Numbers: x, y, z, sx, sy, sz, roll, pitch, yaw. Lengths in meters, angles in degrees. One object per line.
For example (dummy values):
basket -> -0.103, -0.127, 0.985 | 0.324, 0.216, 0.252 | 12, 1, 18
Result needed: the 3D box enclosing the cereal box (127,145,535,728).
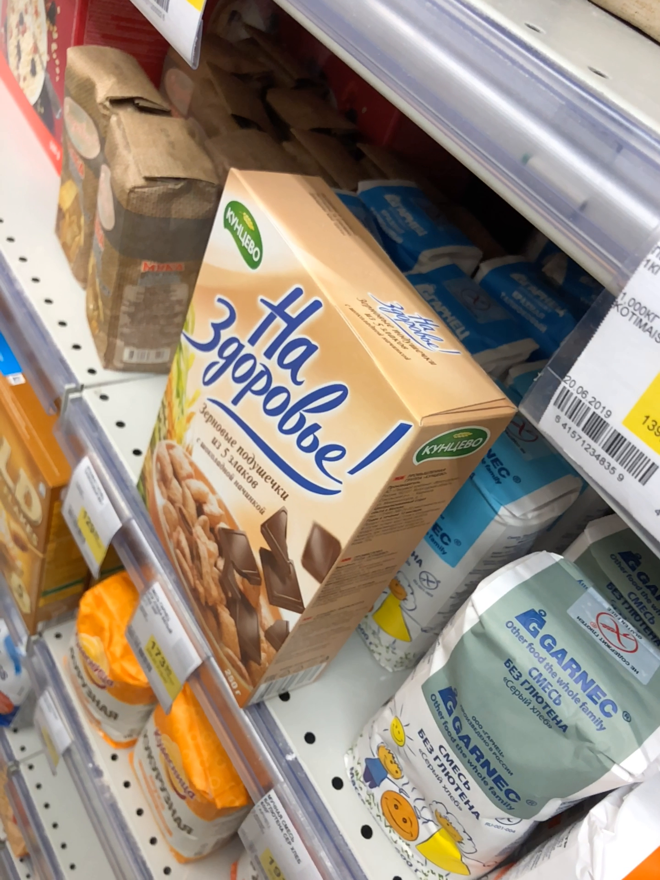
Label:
cereal box -> -0.026, 0.007, 0.349 | 0.050, 0.219, 0.160 | -9, 52, -35
